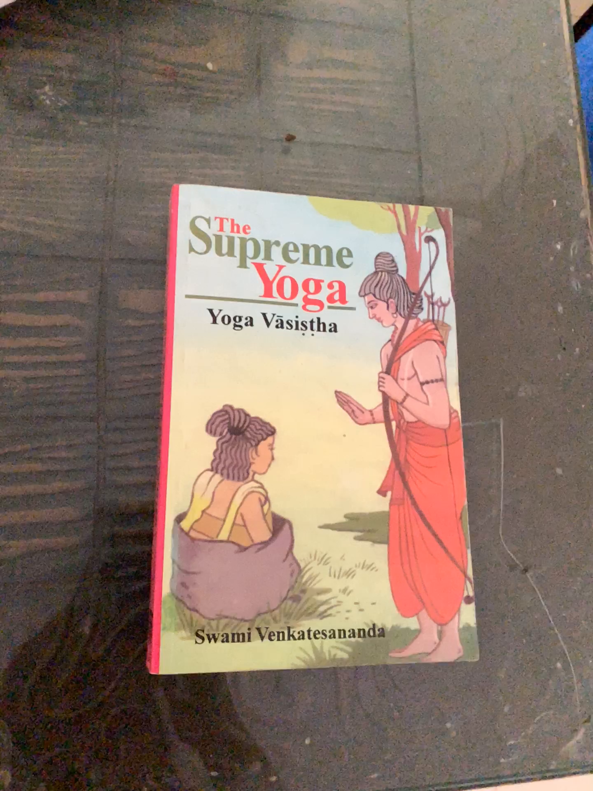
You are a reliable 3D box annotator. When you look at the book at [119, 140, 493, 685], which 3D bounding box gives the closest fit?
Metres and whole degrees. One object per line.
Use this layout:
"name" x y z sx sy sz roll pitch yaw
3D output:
"book" 0.004 0.002 0.260 0.140 0.030 0.210 2 78 -10
